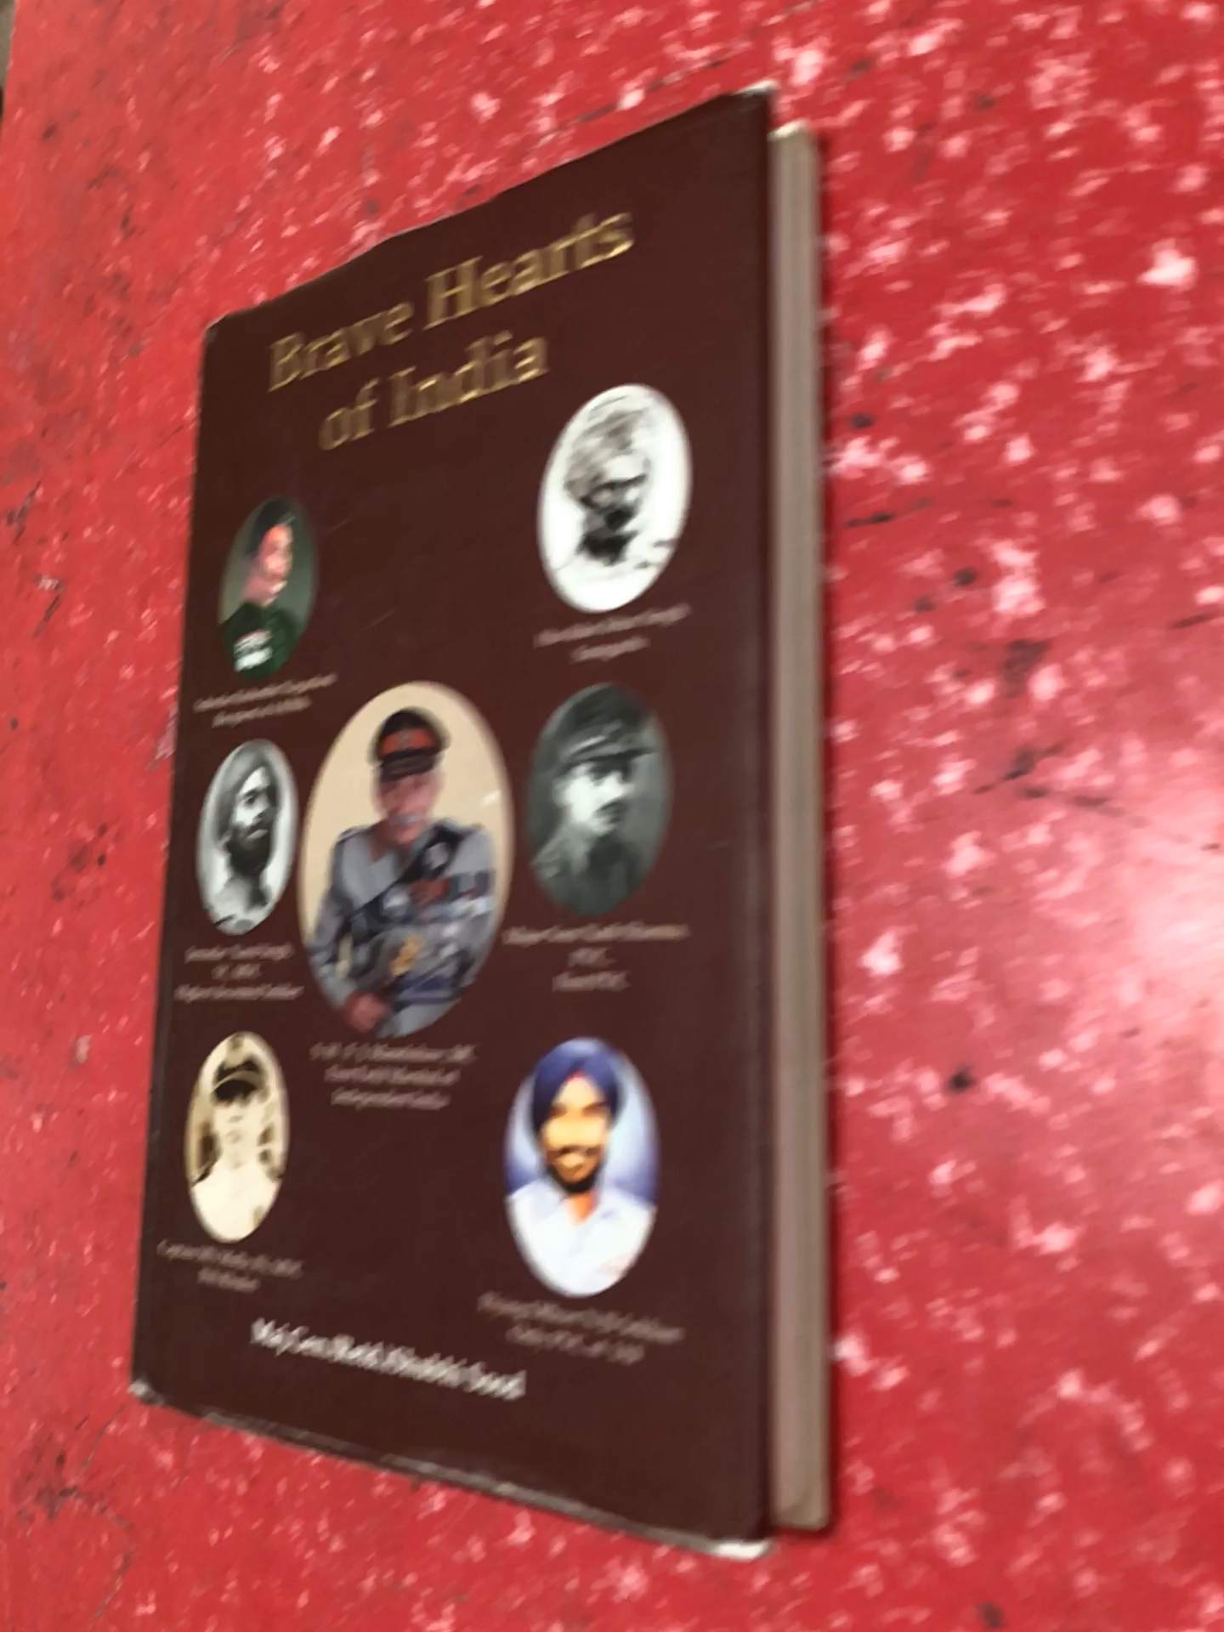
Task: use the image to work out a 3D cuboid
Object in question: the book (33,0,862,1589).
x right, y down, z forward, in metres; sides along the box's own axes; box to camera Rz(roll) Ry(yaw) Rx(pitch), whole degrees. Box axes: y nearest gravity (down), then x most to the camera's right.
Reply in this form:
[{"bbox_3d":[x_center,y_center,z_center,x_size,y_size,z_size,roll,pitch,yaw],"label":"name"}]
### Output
[{"bbox_3d":[-0.034,-0.008,0.236,0.151,0.030,0.220,-6,77,36],"label":"book"}]
